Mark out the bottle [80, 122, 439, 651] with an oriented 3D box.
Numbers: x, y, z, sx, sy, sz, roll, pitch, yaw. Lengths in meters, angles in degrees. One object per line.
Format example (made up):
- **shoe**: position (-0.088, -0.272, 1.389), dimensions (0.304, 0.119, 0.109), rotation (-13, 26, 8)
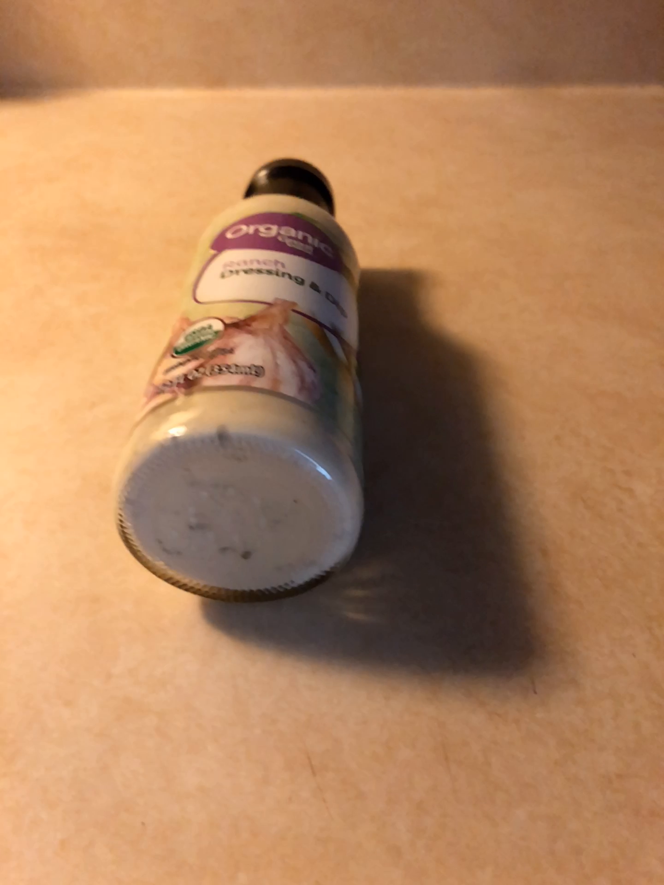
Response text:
- **bottle**: position (-0.018, -0.045, 0.256), dimensions (0.070, 0.060, 0.230), rotation (7, 35, -5)
